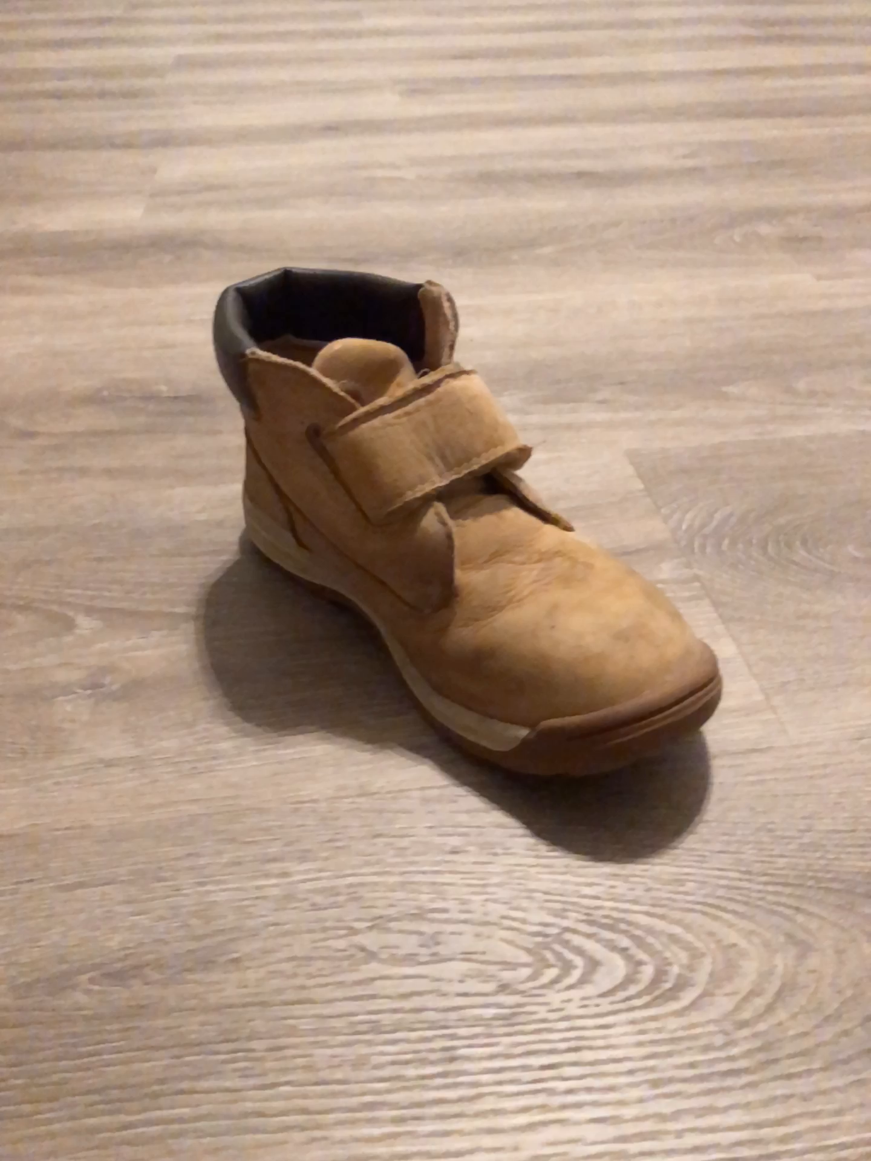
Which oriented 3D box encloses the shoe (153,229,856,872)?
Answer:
[{"bbox_3d":[0.006,-0.028,0.308,0.090,0.099,0.201,-26,44,-30],"label":"shoe"}]
